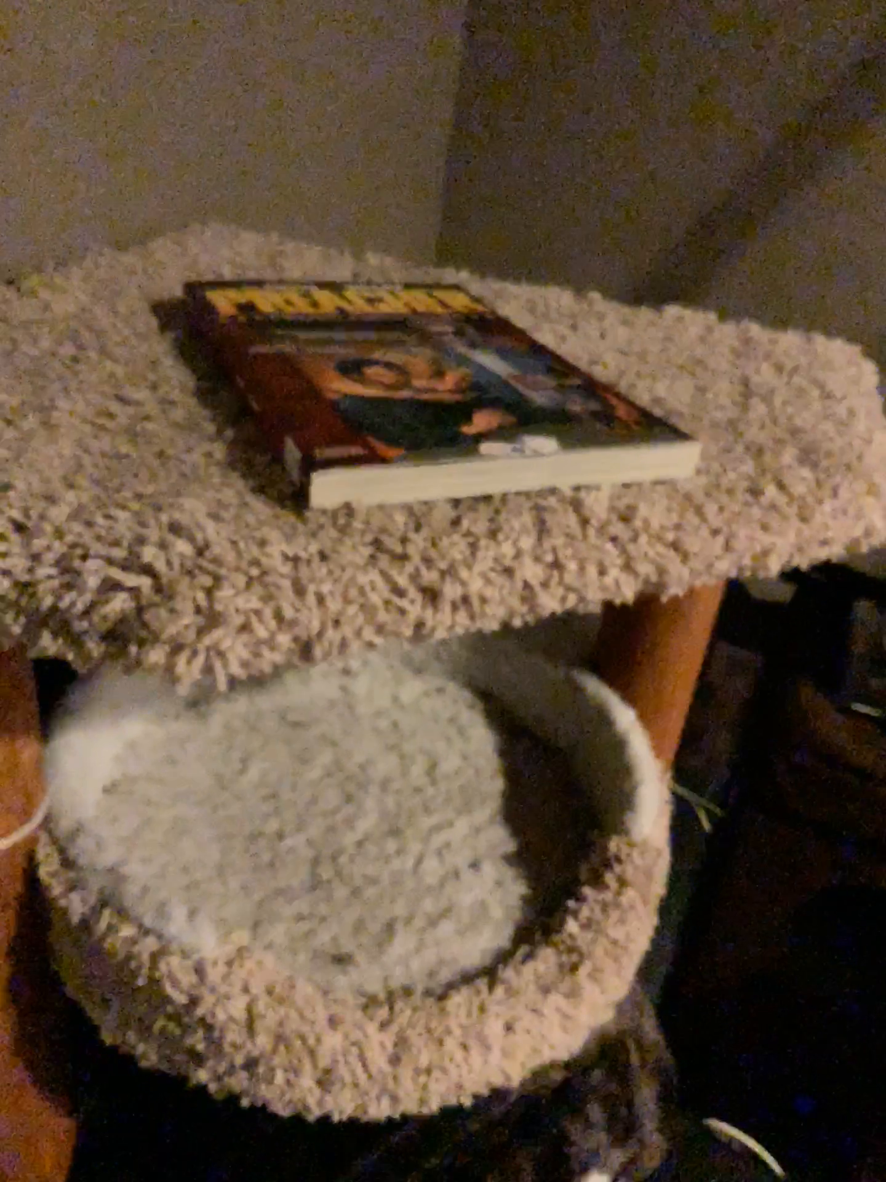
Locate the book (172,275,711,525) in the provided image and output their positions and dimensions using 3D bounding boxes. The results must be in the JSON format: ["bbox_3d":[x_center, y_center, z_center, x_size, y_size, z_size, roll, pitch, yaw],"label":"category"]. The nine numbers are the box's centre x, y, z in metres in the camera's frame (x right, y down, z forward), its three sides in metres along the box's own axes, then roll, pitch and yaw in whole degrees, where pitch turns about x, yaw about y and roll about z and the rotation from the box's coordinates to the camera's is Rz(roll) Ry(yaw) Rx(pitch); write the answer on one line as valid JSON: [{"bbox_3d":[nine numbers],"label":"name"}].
[{"bbox_3d":[-0.021,-0.109,0.491,0.170,0.020,0.270,-7,33,-24],"label":"book"}]

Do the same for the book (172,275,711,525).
[{"bbox_3d":[-0.021,-0.109,0.491,0.170,0.020,0.270,-7,33,-24],"label":"book"}]
